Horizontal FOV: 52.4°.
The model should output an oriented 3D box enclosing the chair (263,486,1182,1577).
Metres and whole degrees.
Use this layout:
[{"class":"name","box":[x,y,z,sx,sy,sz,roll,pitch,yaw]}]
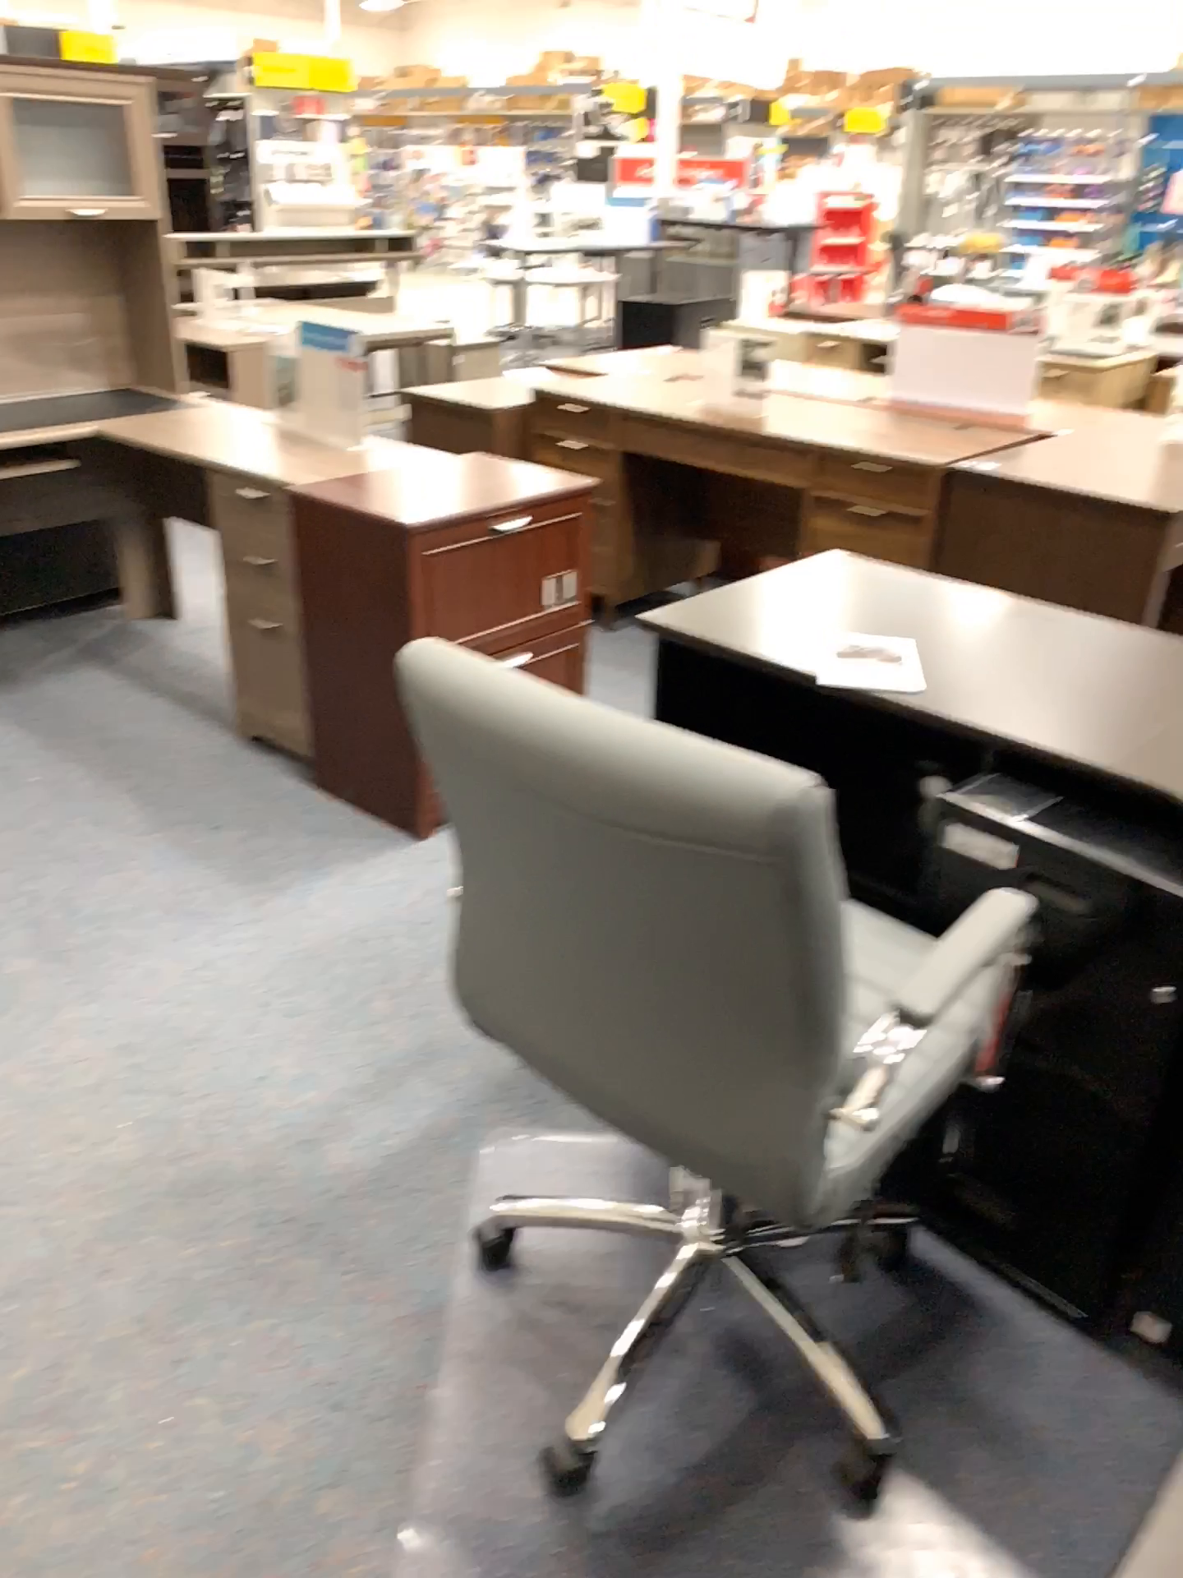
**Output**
[{"class":"chair","box":[0.152,0.247,1.386,0.709,0.962,0.659,-22,35,-39]}]
